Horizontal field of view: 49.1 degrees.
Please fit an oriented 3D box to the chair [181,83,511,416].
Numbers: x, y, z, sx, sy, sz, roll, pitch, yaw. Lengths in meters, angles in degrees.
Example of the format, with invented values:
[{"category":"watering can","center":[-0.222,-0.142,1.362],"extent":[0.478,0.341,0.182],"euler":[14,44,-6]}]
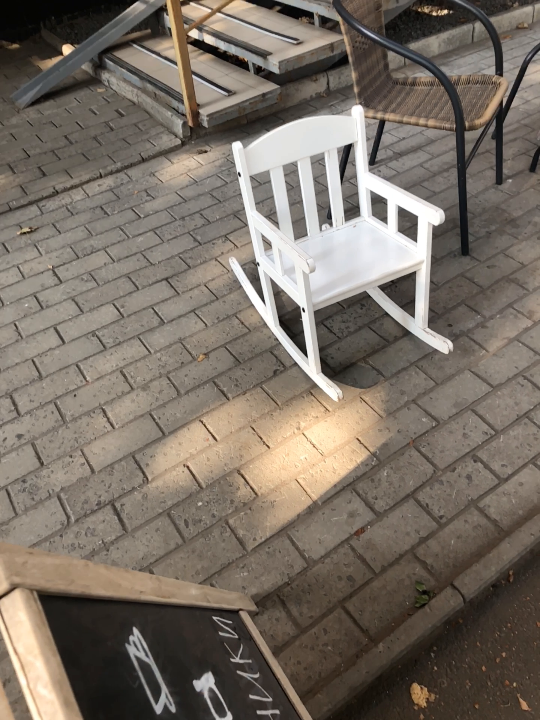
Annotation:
[{"category":"chair","center":[0.149,-0.335,1.570],"extent":[0.440,0.458,0.753],"euler":[-23,47,-16]}]
